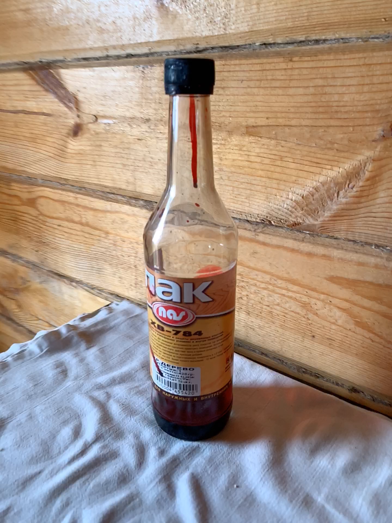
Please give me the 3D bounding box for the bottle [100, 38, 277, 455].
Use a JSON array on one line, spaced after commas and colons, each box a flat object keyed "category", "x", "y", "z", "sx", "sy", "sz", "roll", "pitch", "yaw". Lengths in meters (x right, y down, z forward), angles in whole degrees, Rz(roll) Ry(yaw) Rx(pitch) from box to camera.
[{"category": "bottle", "x": -0.006, "y": -0.004, "z": 0.281, "sx": 0.080, "sy": 0.258, "sz": 0.070, "roll": 12, "pitch": 23, "yaw": 24}]
